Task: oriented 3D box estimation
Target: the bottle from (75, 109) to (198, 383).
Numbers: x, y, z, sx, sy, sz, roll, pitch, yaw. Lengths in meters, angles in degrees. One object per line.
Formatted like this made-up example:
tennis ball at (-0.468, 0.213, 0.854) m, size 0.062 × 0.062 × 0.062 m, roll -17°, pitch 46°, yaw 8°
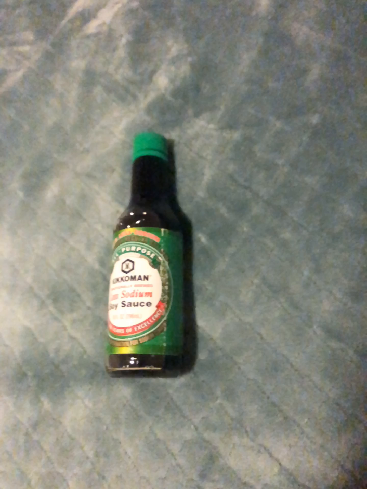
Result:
bottle at (-0.033, 0.003, 0.337) m, size 0.070 × 0.060 × 0.210 m, roll -8°, pitch 69°, yaw 21°
